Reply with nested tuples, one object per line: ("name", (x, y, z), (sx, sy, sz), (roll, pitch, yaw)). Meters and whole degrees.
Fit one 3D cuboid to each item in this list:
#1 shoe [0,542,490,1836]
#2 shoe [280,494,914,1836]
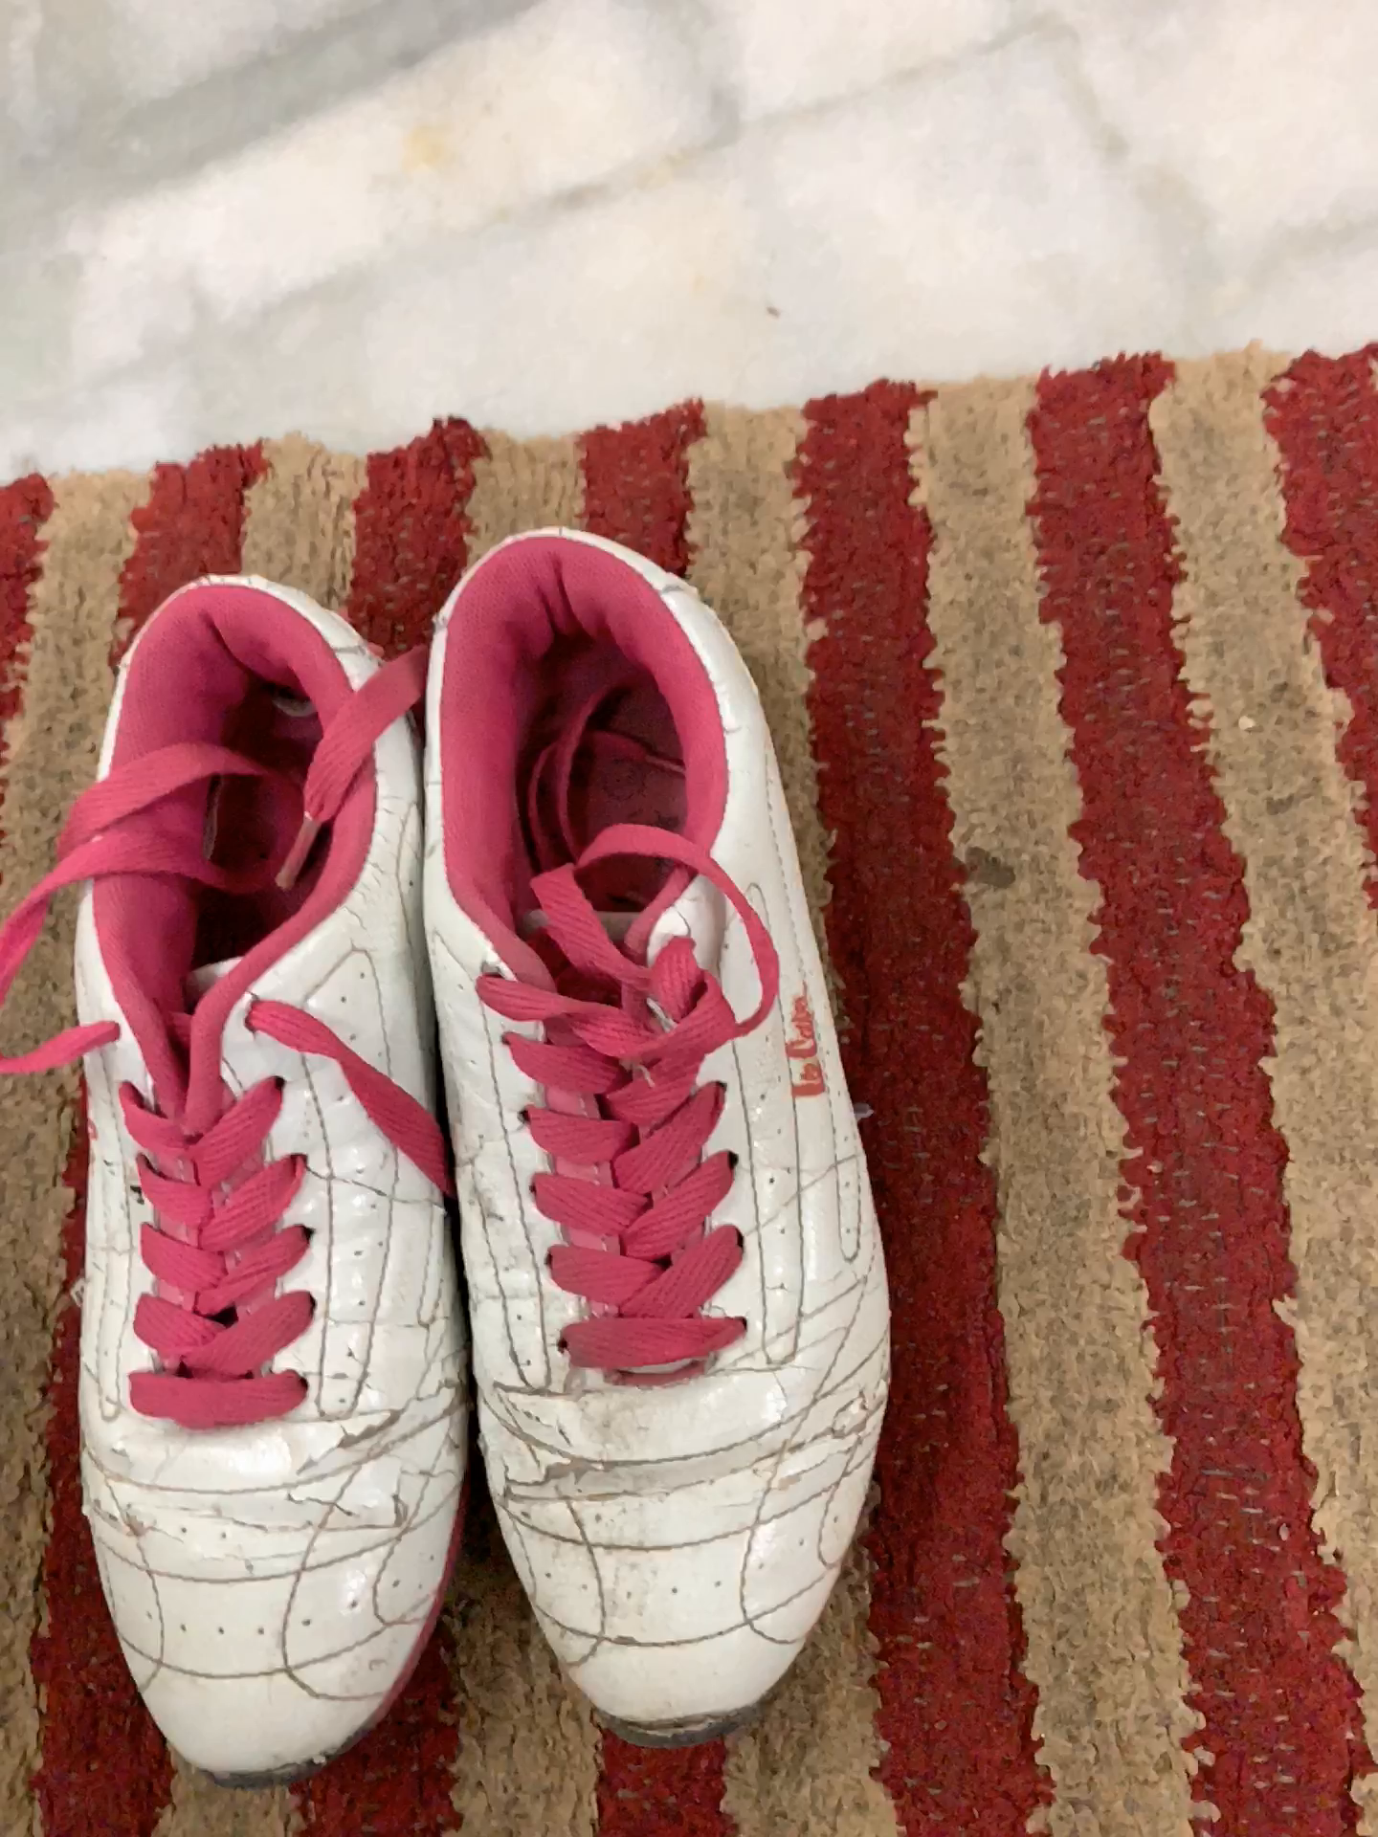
("shoe", (-0.099, 0.057, 0.303), (0.090, 0.100, 0.241), (-4, 73, 7))
("shoe", (-0.014, 0.048, 0.303), (0.100, 0.100, 0.241), (-4, 73, 7))
